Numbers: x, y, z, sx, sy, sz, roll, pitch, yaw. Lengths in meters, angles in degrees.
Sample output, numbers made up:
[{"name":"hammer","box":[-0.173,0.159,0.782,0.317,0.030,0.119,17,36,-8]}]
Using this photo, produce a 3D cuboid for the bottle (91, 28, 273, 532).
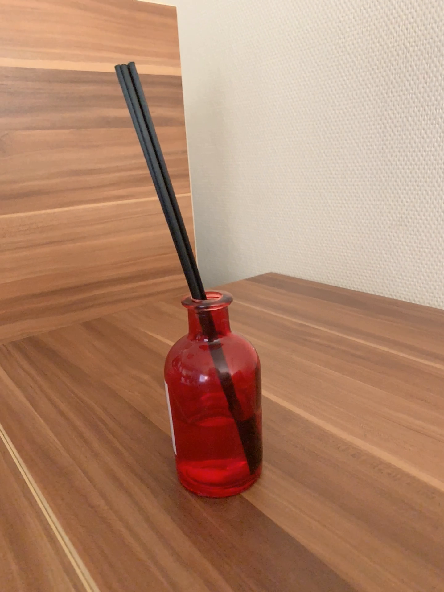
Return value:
[{"name":"bottle","box":[-0.016,0.000,0.246,0.060,0.239,0.050,-14,19,-30]}]
